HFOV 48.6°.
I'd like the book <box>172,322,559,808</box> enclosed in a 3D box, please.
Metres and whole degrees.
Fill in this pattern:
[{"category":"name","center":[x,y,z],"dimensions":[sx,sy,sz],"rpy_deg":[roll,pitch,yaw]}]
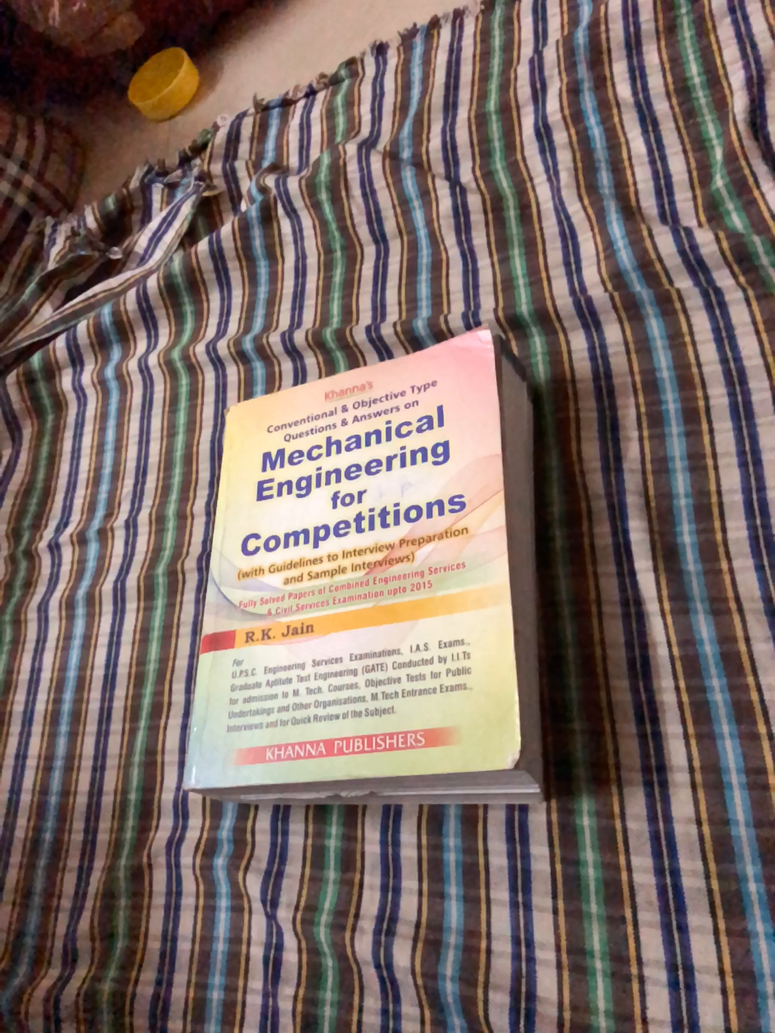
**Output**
[{"category":"book","center":[-0.010,0.035,0.554],"dimensions":[0.211,0.077,0.280],"rpy_deg":[-10,62,24]}]
